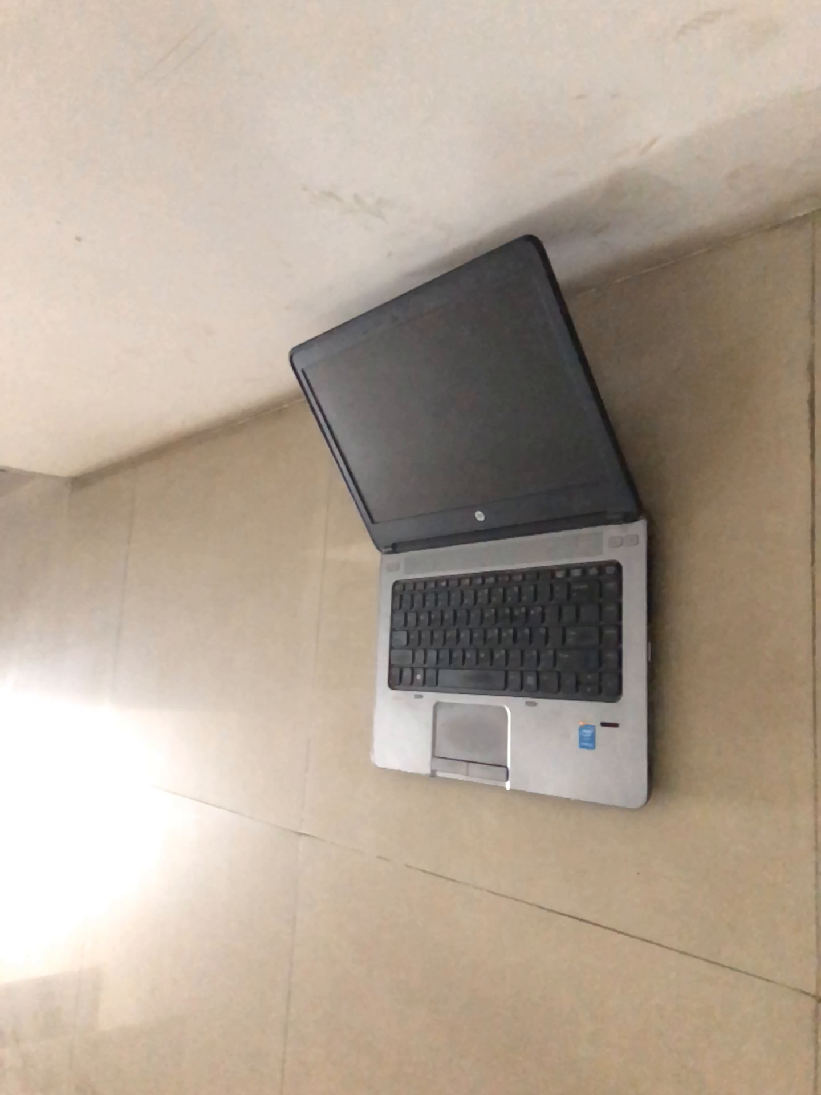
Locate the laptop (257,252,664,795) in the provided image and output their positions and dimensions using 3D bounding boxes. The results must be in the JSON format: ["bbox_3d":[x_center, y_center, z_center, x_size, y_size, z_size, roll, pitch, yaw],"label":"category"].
[{"bbox_3d":[0.035,-0.003,0.788,0.319,0.146,0.385,-8,73,50],"label":"laptop"}]
